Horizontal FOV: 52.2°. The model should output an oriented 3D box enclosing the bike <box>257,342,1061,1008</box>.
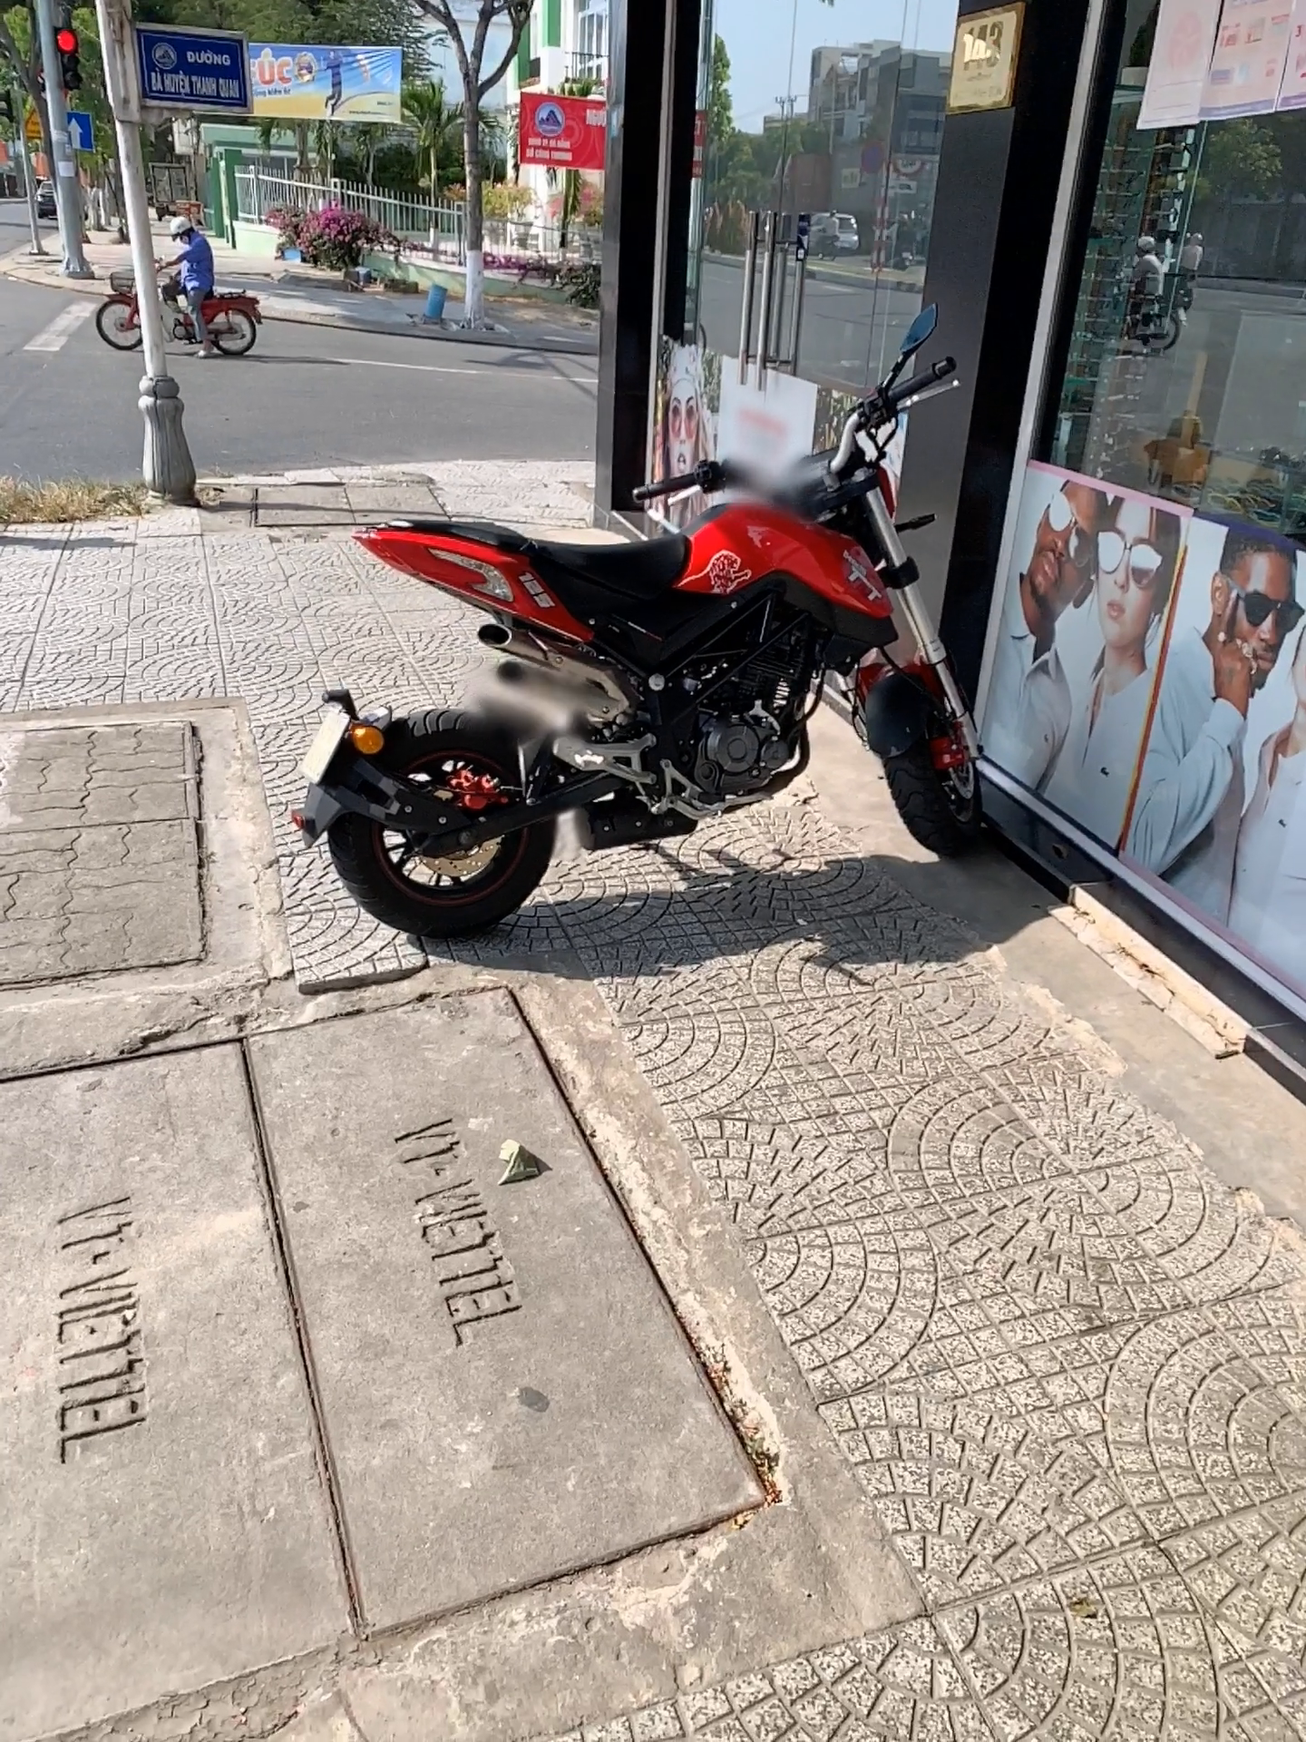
[{"bbox_3d":[0.084,-0.688,3.506,2.123,1.216,0.834,-16,31,-35],"label":"bike"}]
